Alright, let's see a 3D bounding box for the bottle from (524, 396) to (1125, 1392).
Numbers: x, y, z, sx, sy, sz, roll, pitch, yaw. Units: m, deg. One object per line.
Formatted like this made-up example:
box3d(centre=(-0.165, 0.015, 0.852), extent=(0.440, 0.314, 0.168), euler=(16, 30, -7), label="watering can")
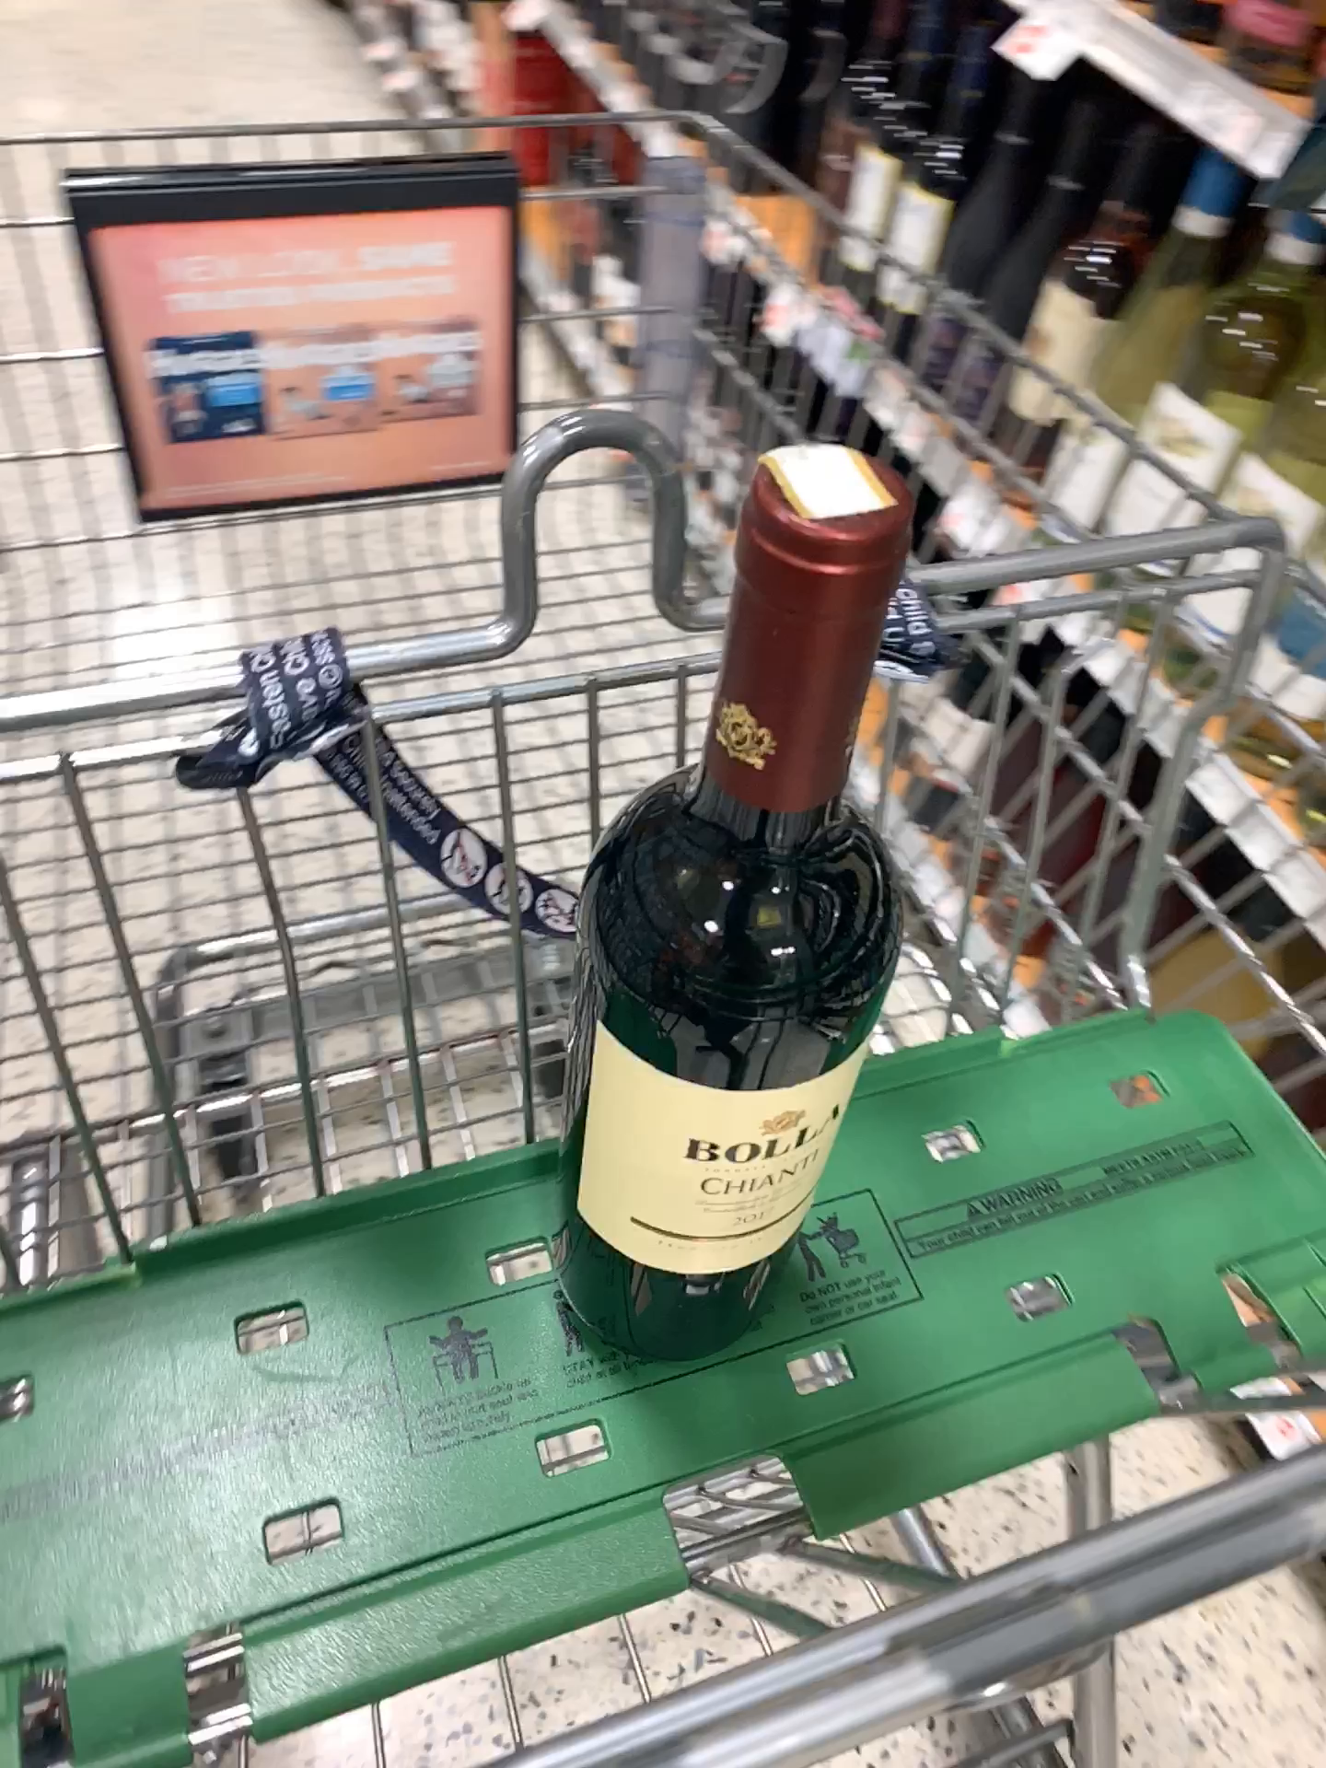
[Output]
box3d(centre=(0.015, 0.026, 0.338), extent=(0.080, 0.267, 0.081), euler=(3, 48, -4), label="bottle")
